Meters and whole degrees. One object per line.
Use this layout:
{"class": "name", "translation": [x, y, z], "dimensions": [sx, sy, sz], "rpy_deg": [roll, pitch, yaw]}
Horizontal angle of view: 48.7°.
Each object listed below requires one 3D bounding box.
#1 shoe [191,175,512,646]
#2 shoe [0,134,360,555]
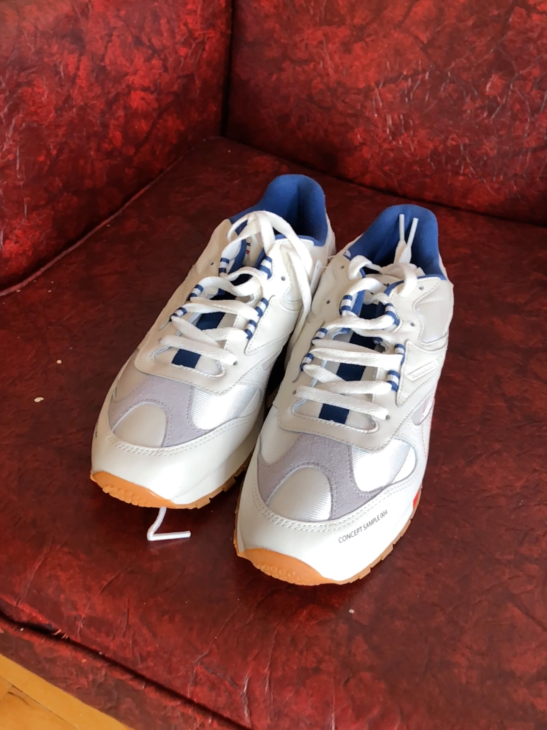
{"class": "shoe", "translation": [0.062, 0.006, 0.380], "dimensions": [0.110, 0.099, 0.272], "rpy_deg": [17, 51, 12]}
{"class": "shoe", "translation": [-0.038, -0.034, 0.407], "dimensions": [0.110, 0.099, 0.272], "rpy_deg": [17, 51, 12]}
